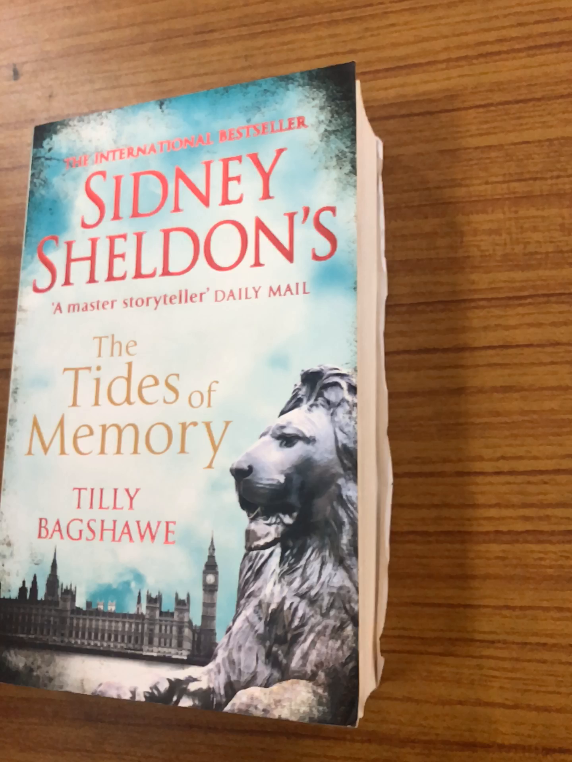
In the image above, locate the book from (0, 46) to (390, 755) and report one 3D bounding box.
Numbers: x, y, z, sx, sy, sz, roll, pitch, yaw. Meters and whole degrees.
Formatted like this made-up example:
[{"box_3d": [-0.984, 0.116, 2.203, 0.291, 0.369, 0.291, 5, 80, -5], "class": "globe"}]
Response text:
[{"box_3d": [-0.034, 0.002, 0.189, 0.122, 0.037, 0.168, -2, 80, 18], "class": "book"}]
